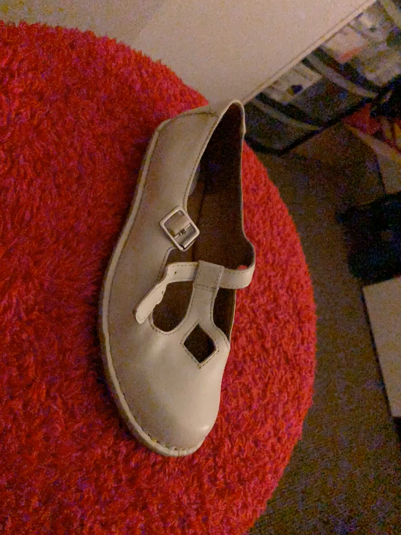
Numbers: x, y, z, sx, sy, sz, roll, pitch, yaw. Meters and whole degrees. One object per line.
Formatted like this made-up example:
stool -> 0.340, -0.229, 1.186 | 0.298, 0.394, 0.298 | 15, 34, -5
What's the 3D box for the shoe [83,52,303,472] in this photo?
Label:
shoe -> -0.008, -0.004, 0.302 | 0.100, 0.089, 0.261 | 15, 63, -36
